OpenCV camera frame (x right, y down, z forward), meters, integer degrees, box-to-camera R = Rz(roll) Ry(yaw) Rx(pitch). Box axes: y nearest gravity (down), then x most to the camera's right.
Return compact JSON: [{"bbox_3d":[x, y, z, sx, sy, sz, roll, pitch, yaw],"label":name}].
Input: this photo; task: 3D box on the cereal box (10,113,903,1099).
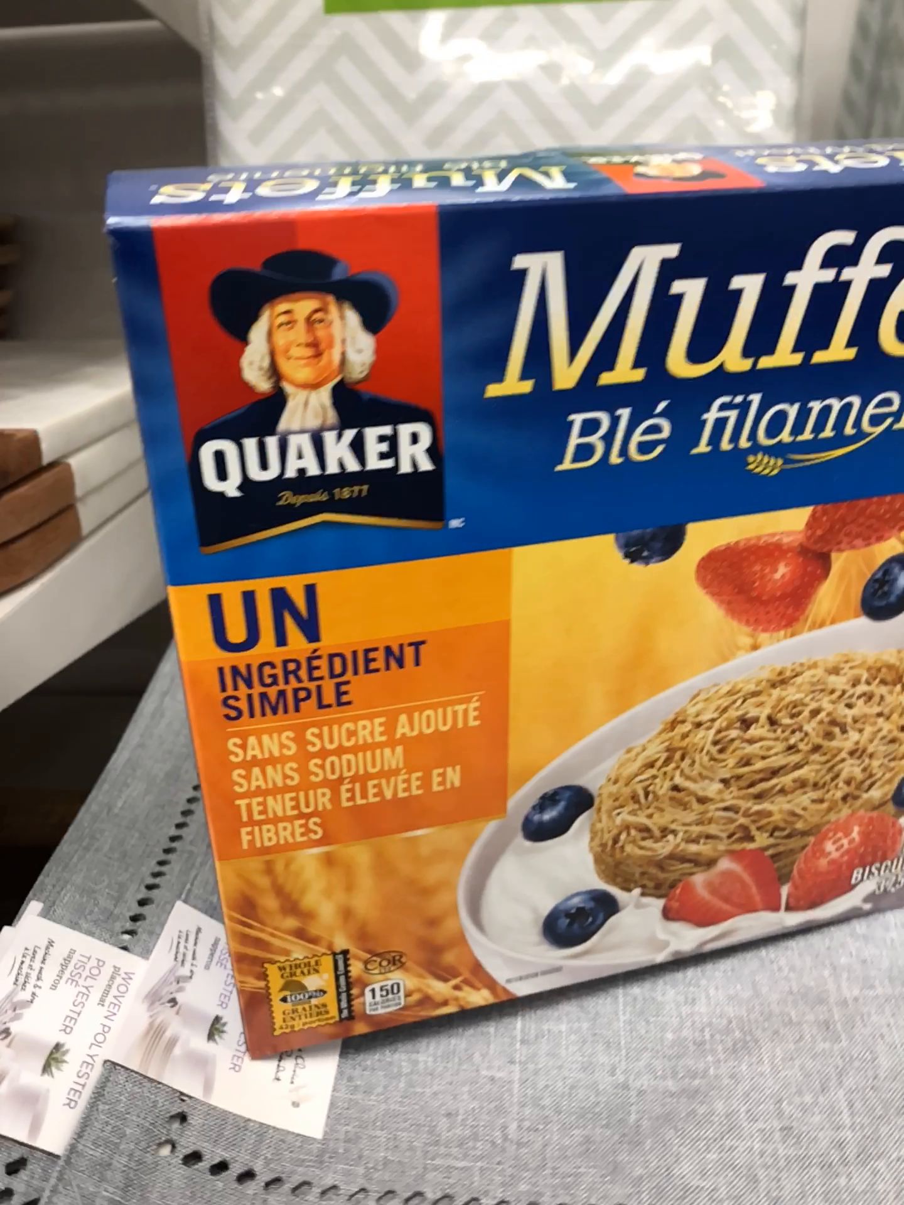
[{"bbox_3d":[0.045,0.003,0.270,0.250,0.229,0.060,-8,30,-12],"label":"cereal box"}]
